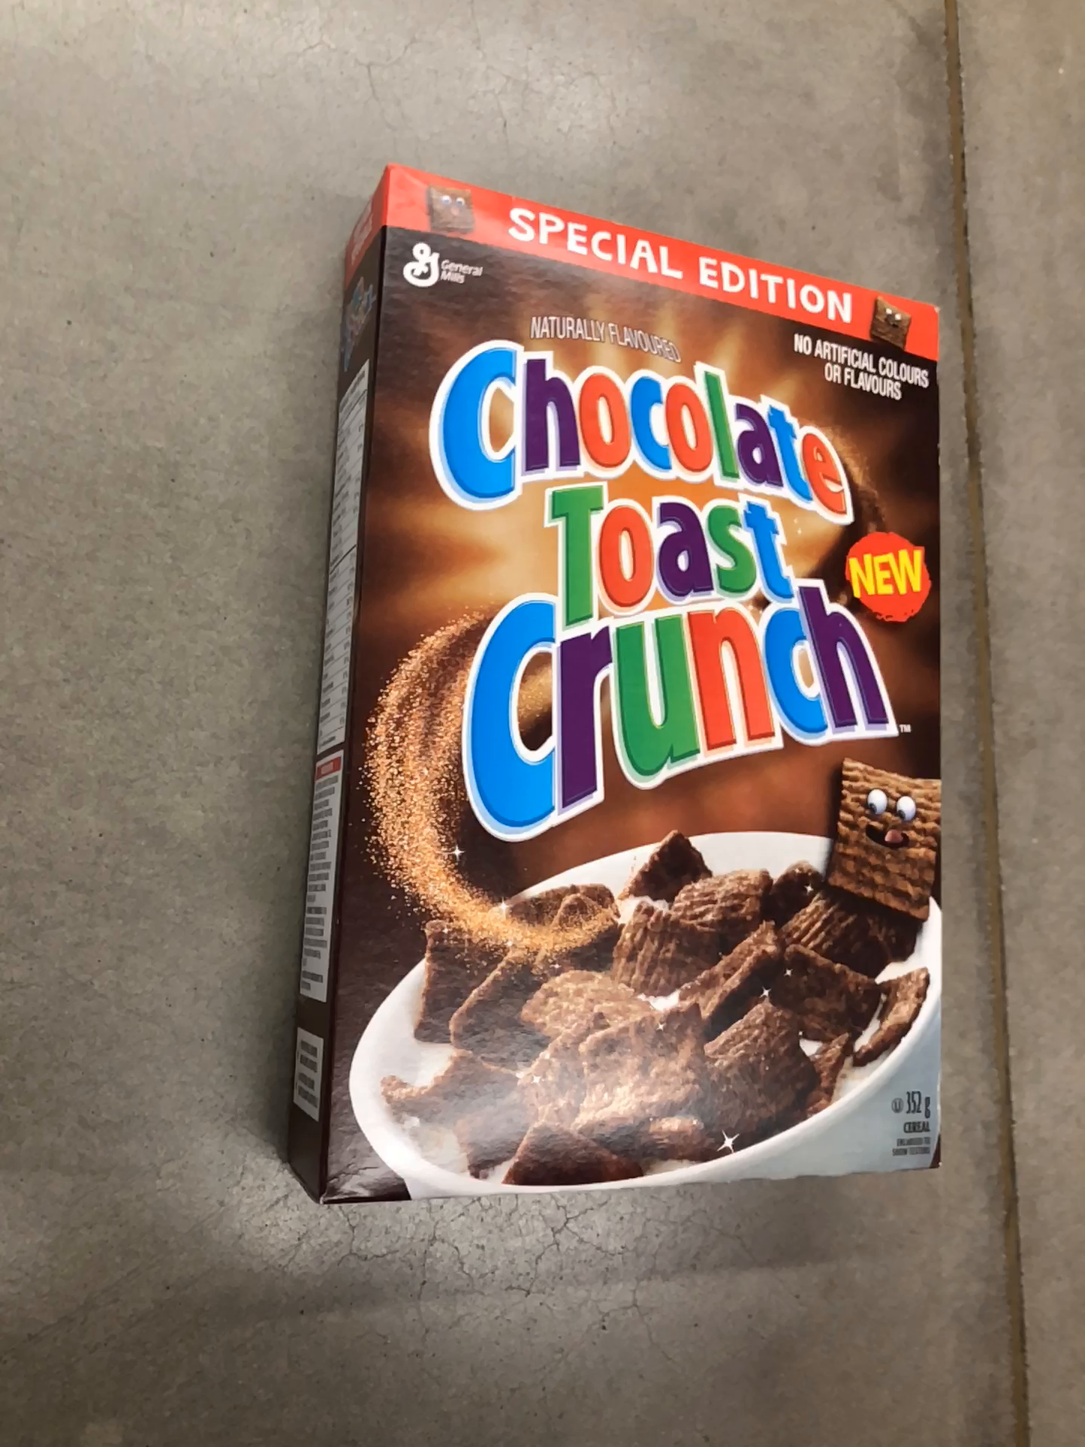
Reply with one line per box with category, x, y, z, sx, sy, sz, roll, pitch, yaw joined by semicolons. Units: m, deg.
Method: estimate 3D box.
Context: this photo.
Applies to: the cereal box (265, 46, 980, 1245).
cereal box;0.027;-0.020;0.368;0.190;0.070;0.310;6;78;-23
